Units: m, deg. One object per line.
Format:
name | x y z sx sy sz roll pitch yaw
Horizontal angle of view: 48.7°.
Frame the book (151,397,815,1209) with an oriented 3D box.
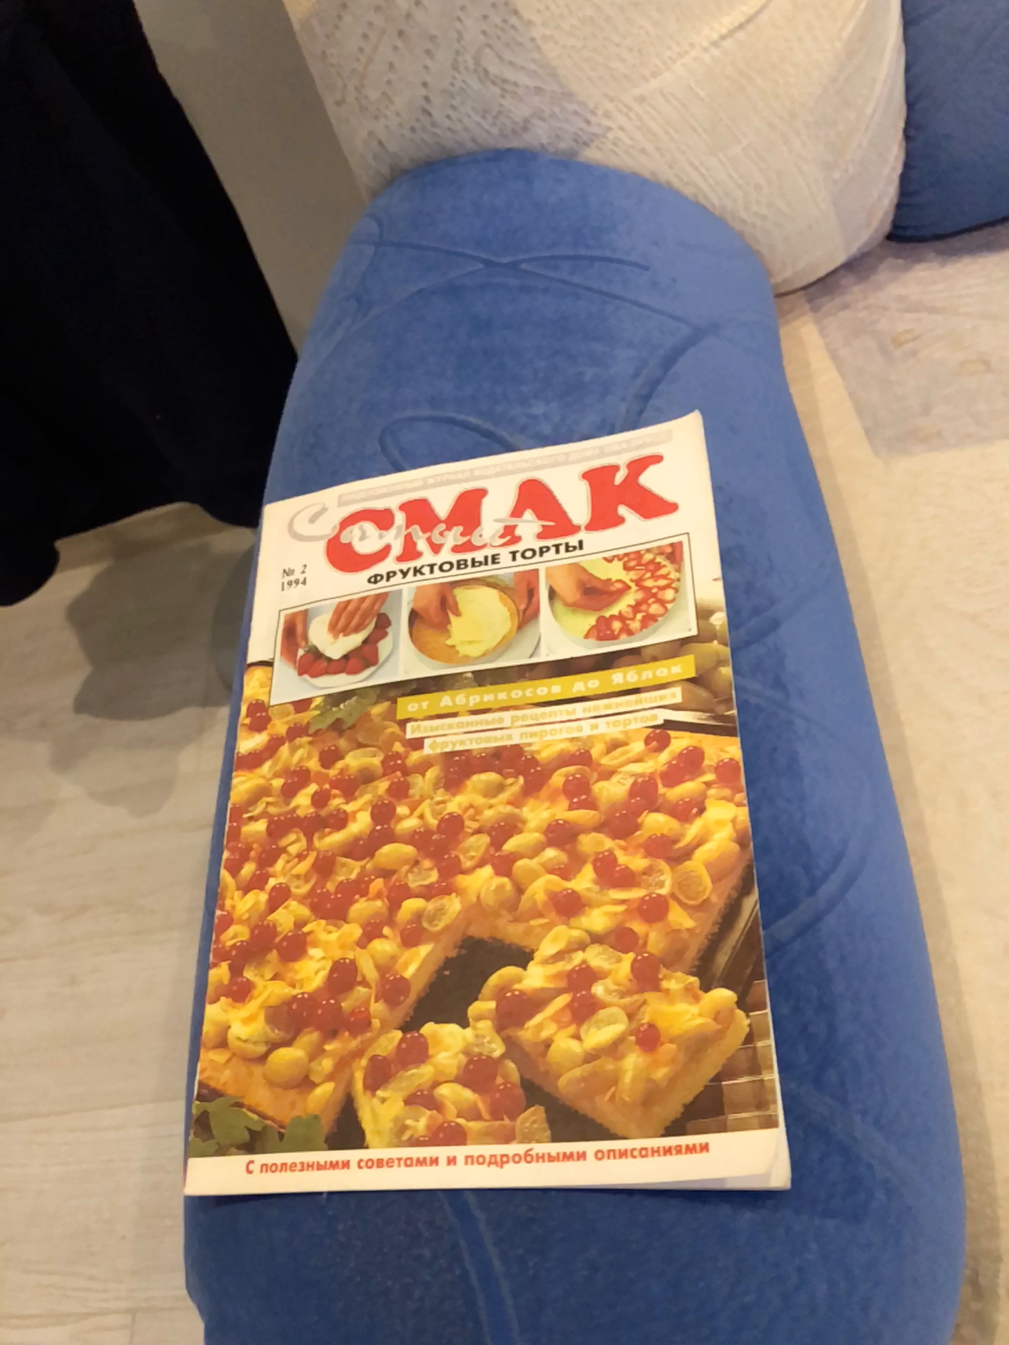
book | -0.011 0.029 0.335 0.172 0.010 0.236 -9 60 16
